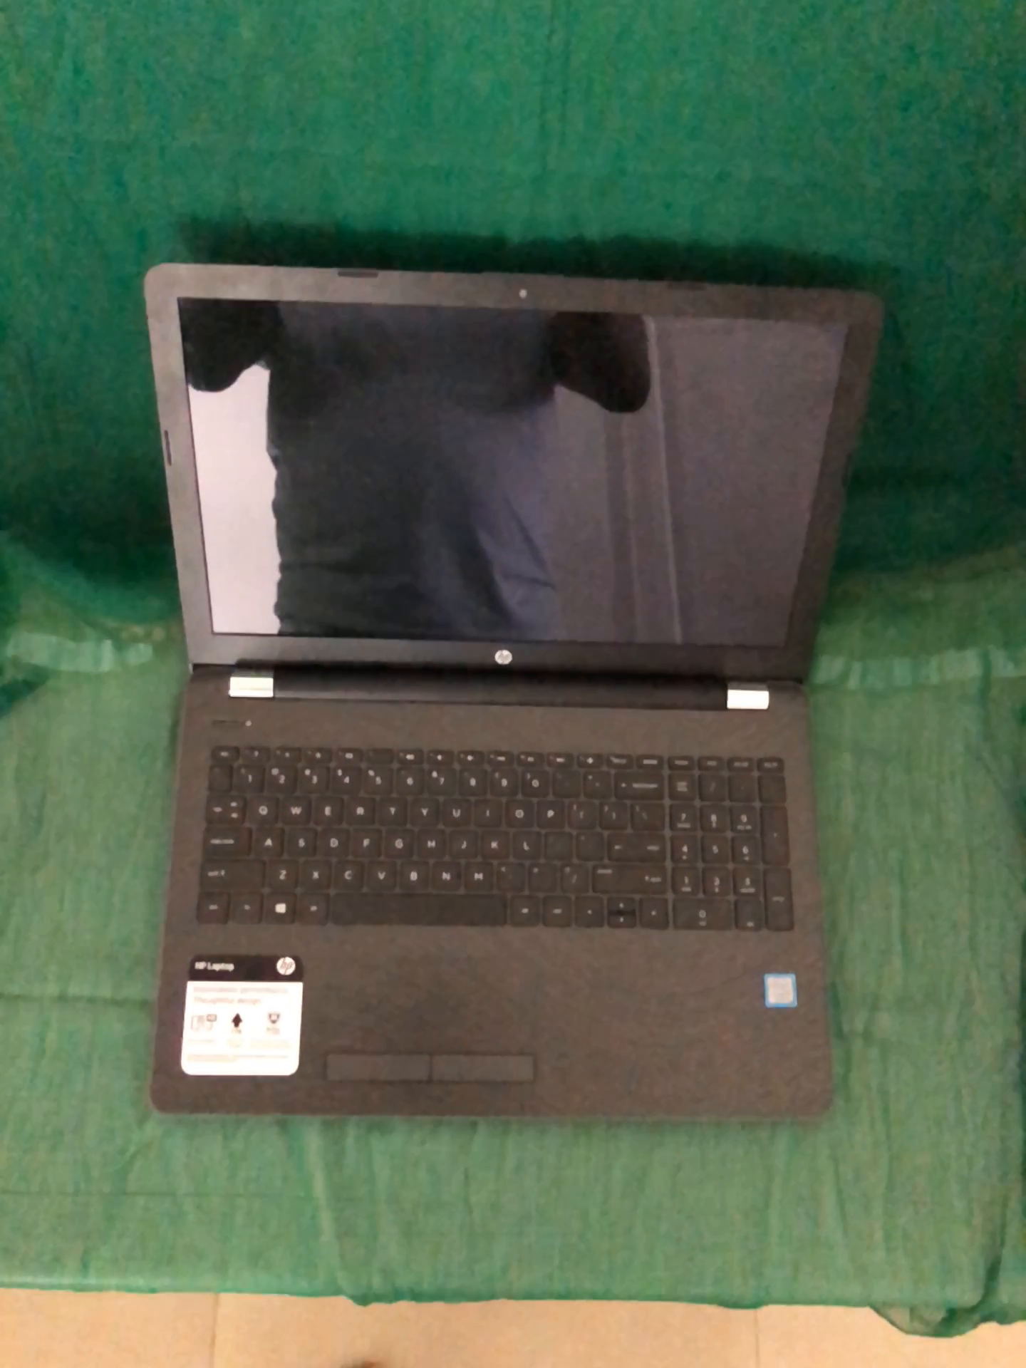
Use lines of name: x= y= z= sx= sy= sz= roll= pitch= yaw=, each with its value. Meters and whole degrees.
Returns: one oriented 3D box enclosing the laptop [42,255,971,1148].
laptop: x=0.000 y=0.014 z=0.601 sx=0.378 sy=0.179 sz=0.415 roll=2 pitch=74 yaw=-3
